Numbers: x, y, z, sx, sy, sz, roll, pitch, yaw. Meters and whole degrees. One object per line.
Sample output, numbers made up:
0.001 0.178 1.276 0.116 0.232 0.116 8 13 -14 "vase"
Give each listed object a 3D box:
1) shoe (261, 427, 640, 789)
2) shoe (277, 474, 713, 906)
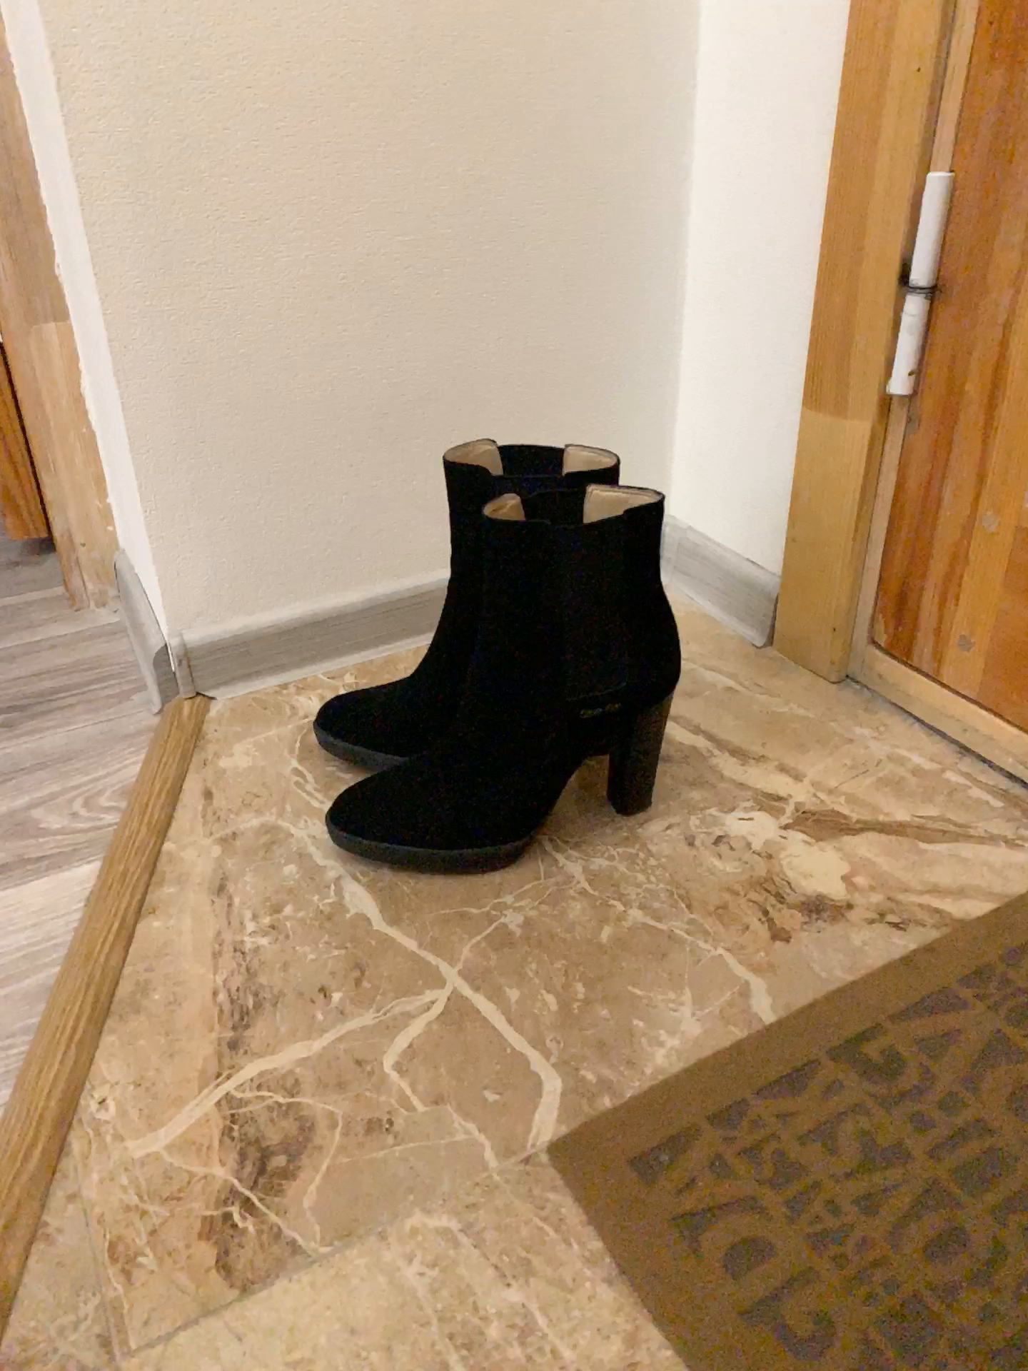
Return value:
-0.038 -0.050 0.681 0.214 0.198 0.087 -5 30 -6 "shoe"
-0.011 0.000 0.605 0.214 0.198 0.087 -9 31 -14 "shoe"
